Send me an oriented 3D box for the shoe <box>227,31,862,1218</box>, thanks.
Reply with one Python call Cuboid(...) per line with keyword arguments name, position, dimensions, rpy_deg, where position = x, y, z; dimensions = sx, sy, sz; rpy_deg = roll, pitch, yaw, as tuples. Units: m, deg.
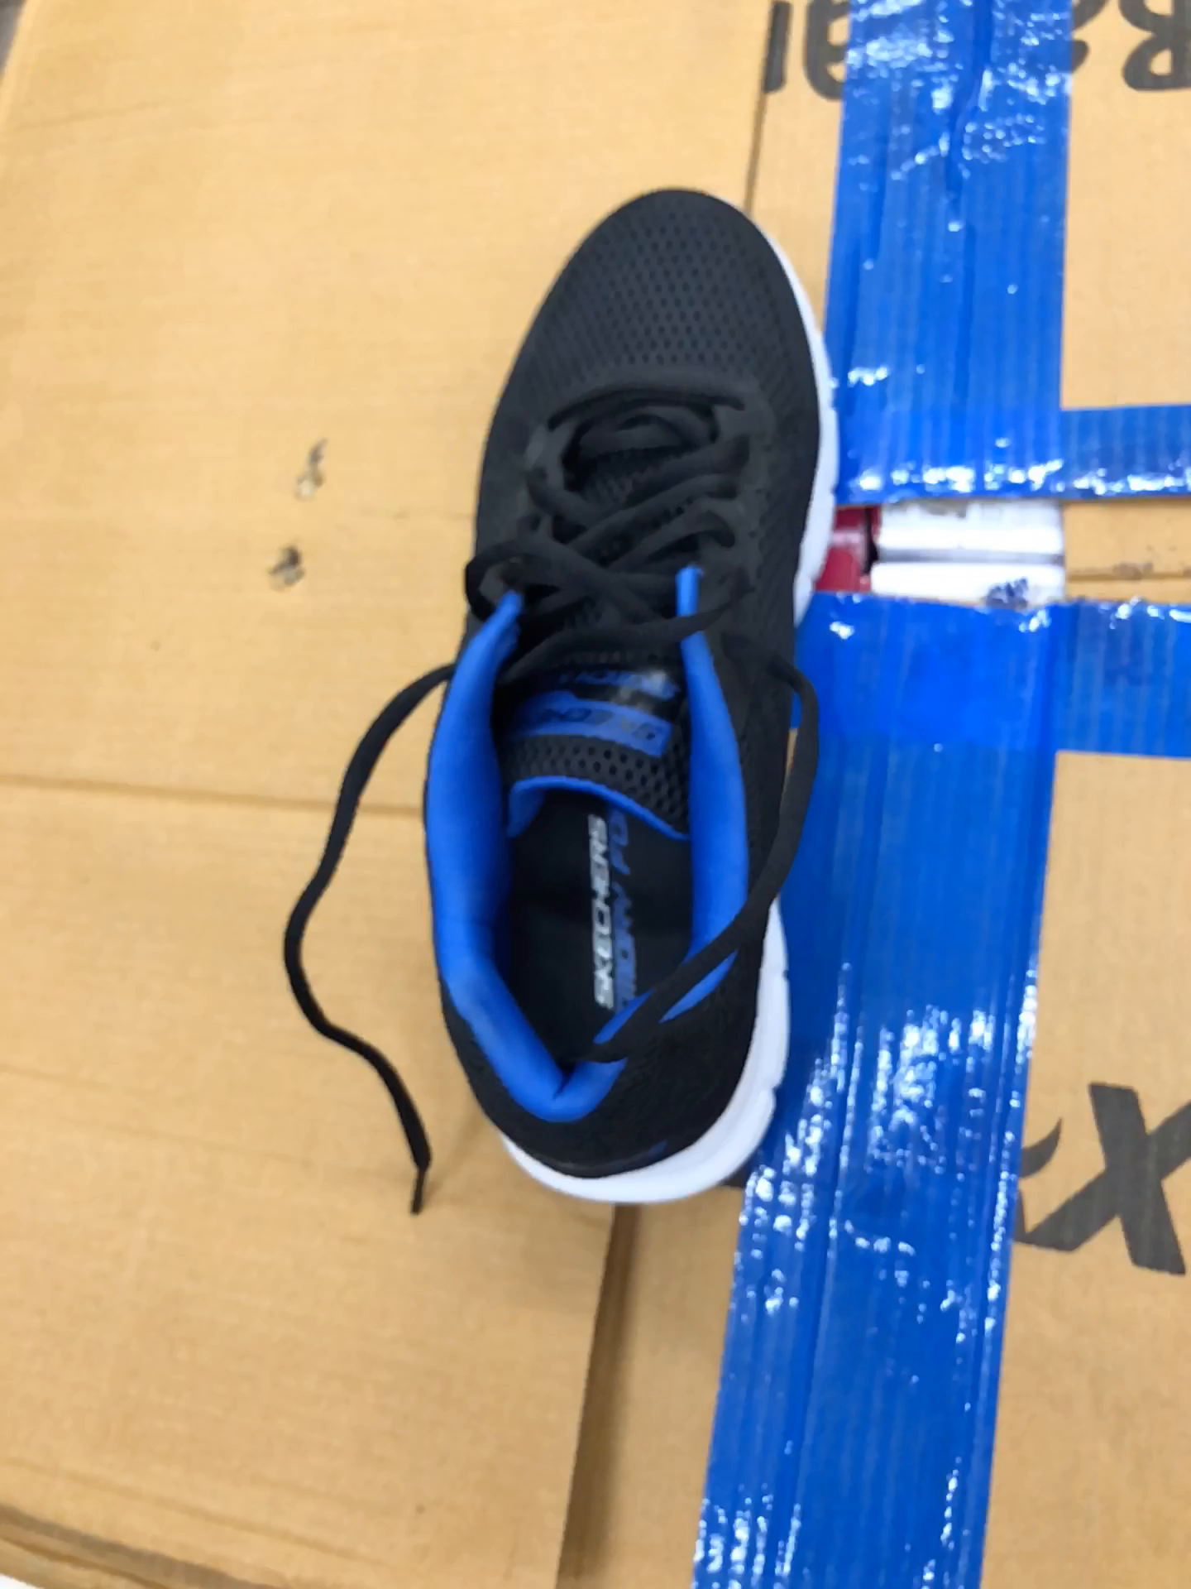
Cuboid(name="shoe", position=(0.004, -0.035, 0.363), dimensions=(0.110, 0.130, 0.270), rpy_deg=(1, 76, 17))
